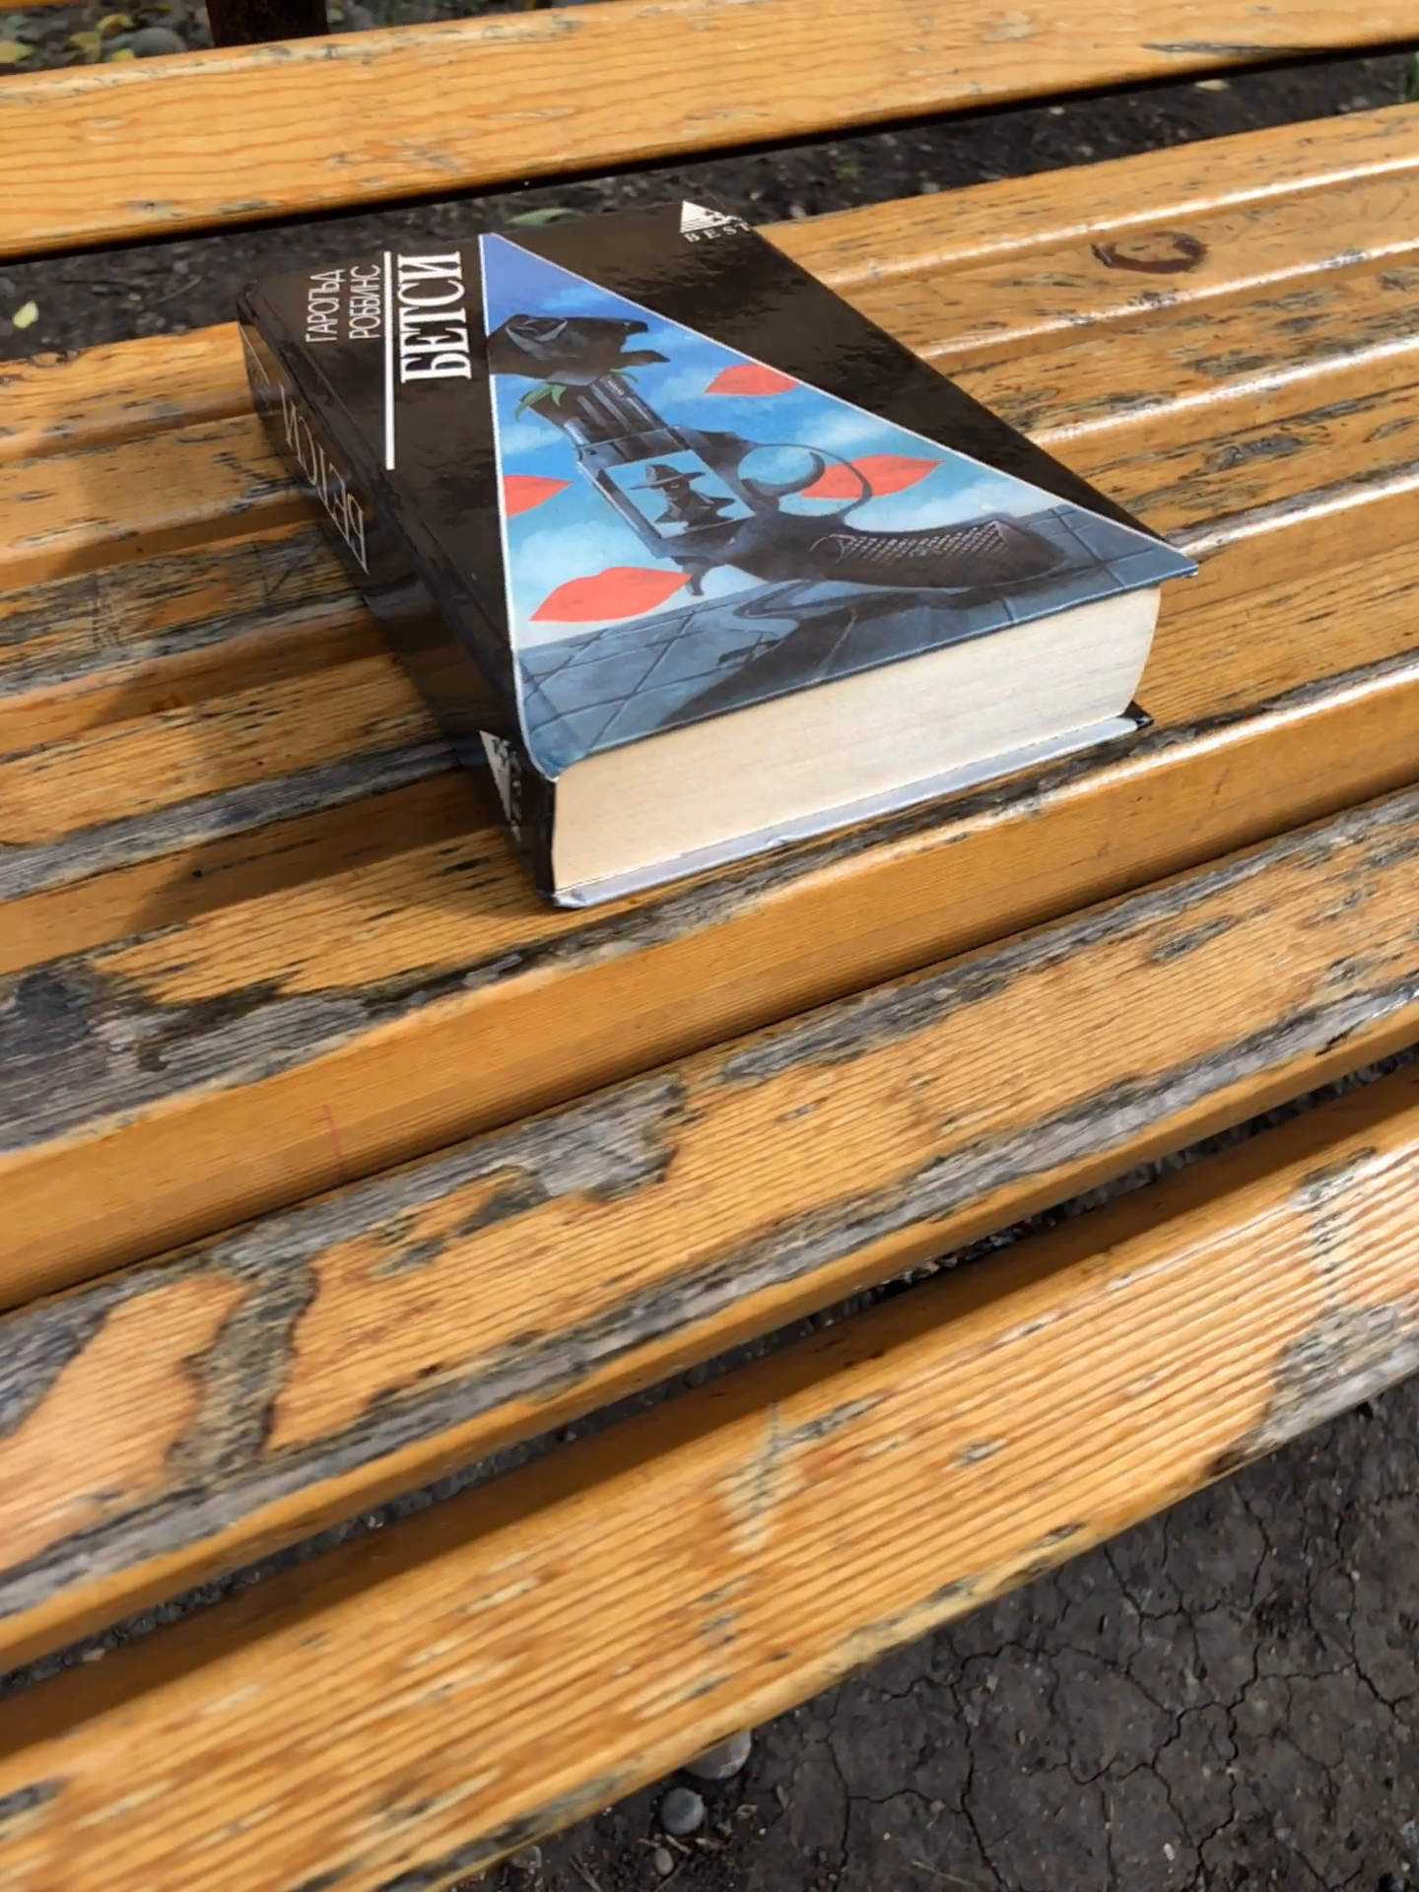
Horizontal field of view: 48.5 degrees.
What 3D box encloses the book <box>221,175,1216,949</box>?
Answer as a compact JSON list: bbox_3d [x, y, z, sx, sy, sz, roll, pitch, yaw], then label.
[{"bbox_3d":[-0.013,-0.103,0.349,0.130,0.045,0.211,-19,49,-20],"label":"book"}]
